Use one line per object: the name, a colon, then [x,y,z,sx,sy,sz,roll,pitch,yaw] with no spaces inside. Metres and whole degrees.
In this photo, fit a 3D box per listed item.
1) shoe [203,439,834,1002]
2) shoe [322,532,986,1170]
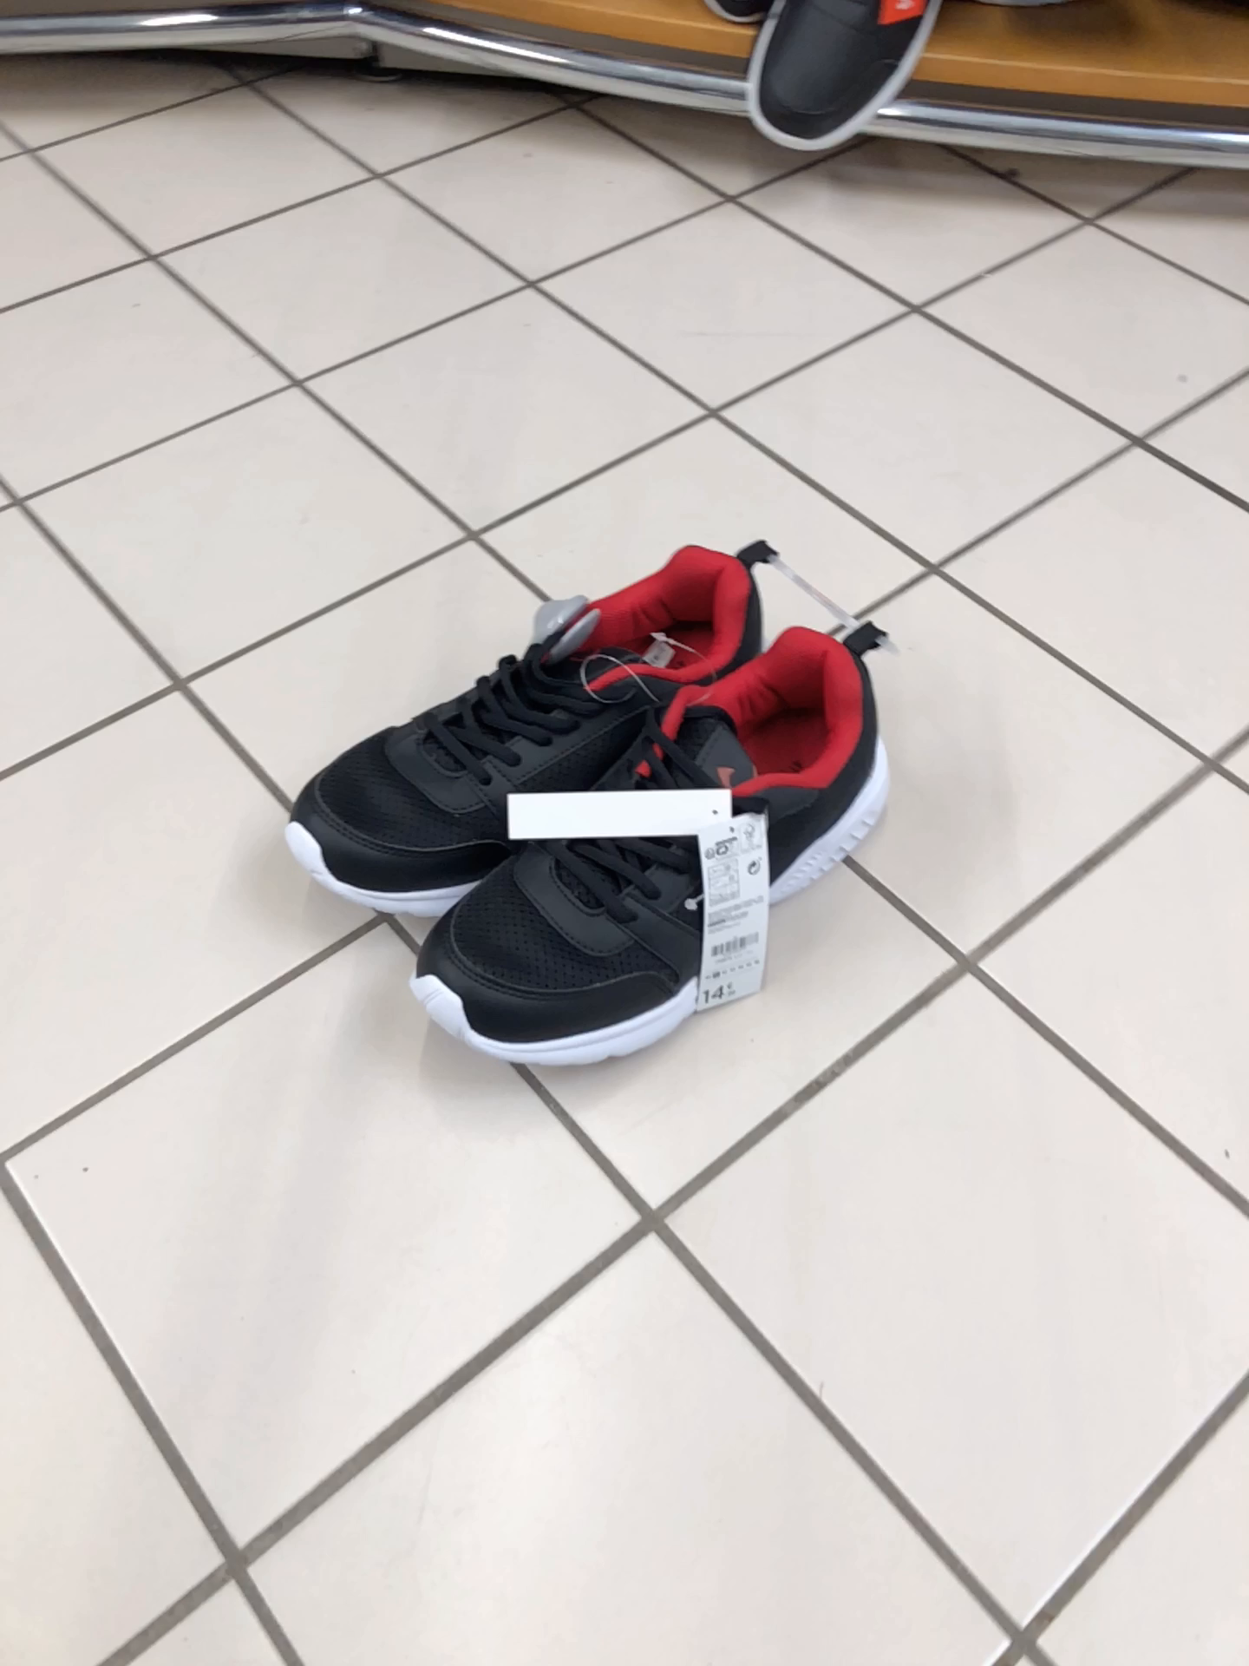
shoe: [-0.041,-0.062,0.675,0.286,0.129,0.100,-33,60,-24]
shoe: [0.021,0.000,0.633,0.296,0.129,0.100,-36,61,-26]
